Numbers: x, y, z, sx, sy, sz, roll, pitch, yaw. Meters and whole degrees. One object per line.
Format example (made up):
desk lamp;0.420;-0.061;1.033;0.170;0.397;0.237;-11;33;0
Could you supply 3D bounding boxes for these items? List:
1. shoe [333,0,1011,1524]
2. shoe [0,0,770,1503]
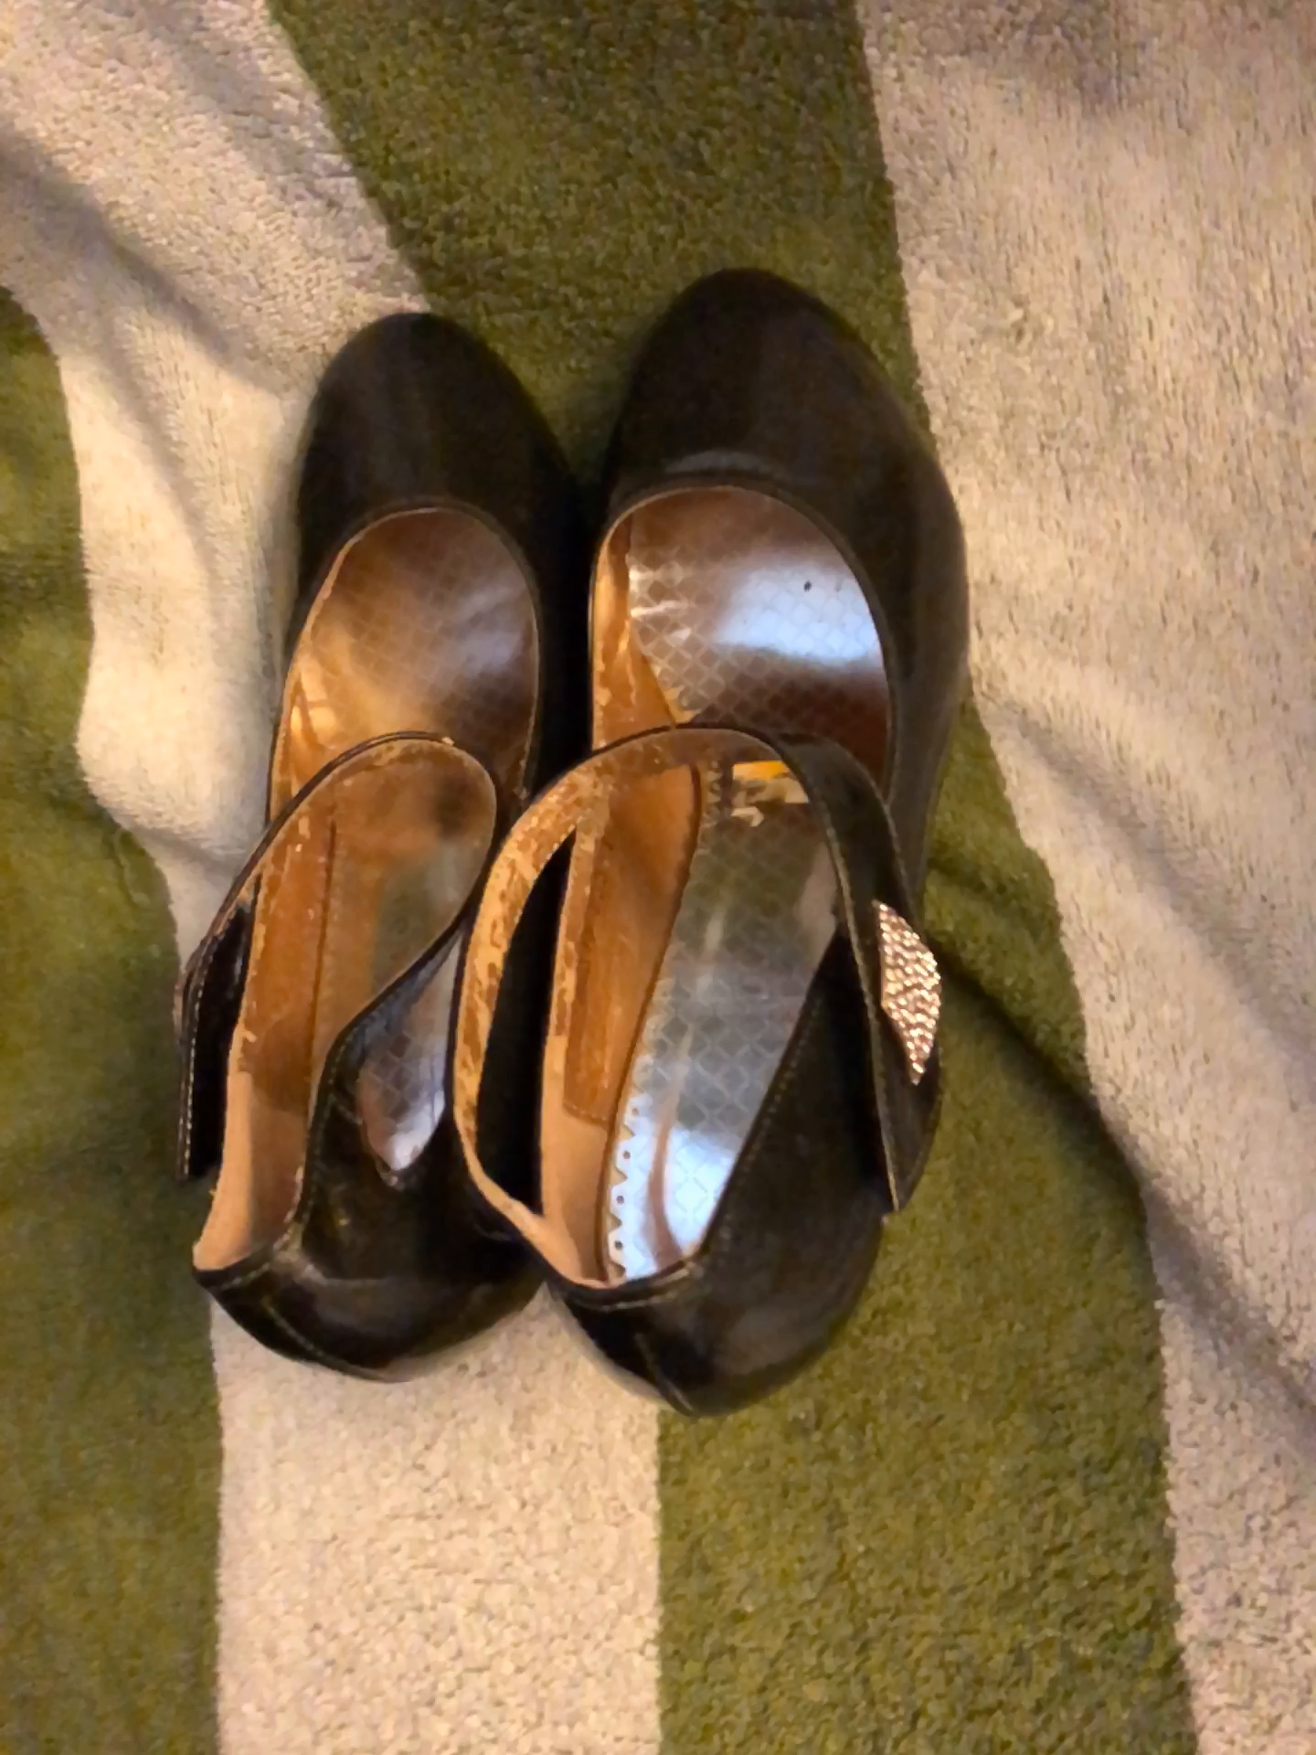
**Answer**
shoe;0.011;-0.031;0.267;0.090;0.120;0.240;-2;86;16
shoe;-0.055;-0.023;0.291;0.090;0.120;0.240;-12;83;15
